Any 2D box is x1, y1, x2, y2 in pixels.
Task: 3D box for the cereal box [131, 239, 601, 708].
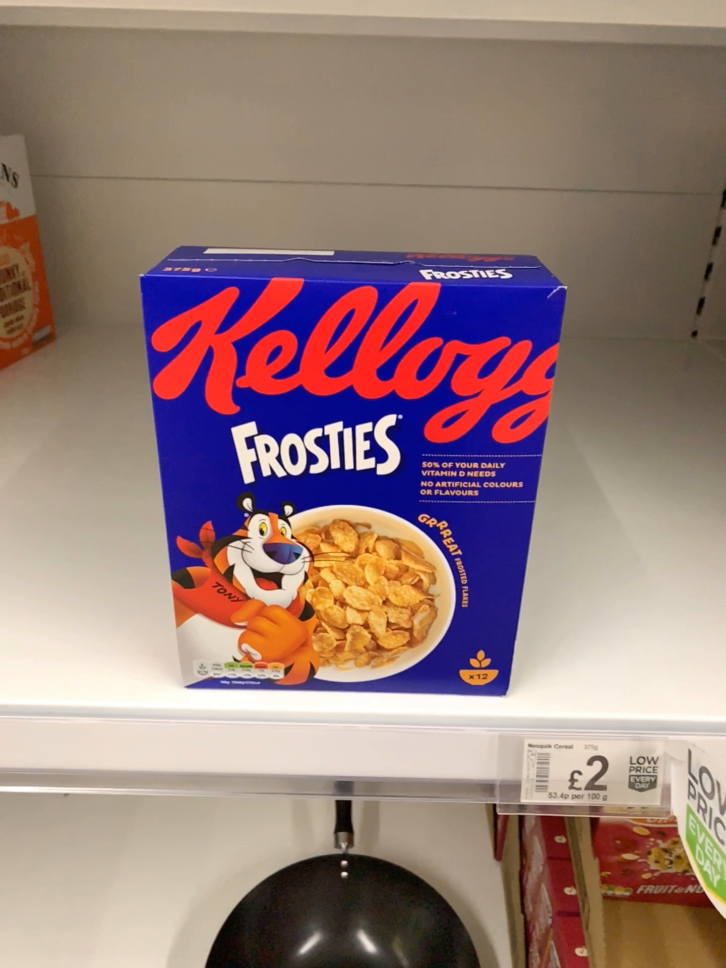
[{"bbox_3d":[-0.001,0.000,0.408,0.200,0.238,0.081,2,27,0],"label":"cereal box"}]
